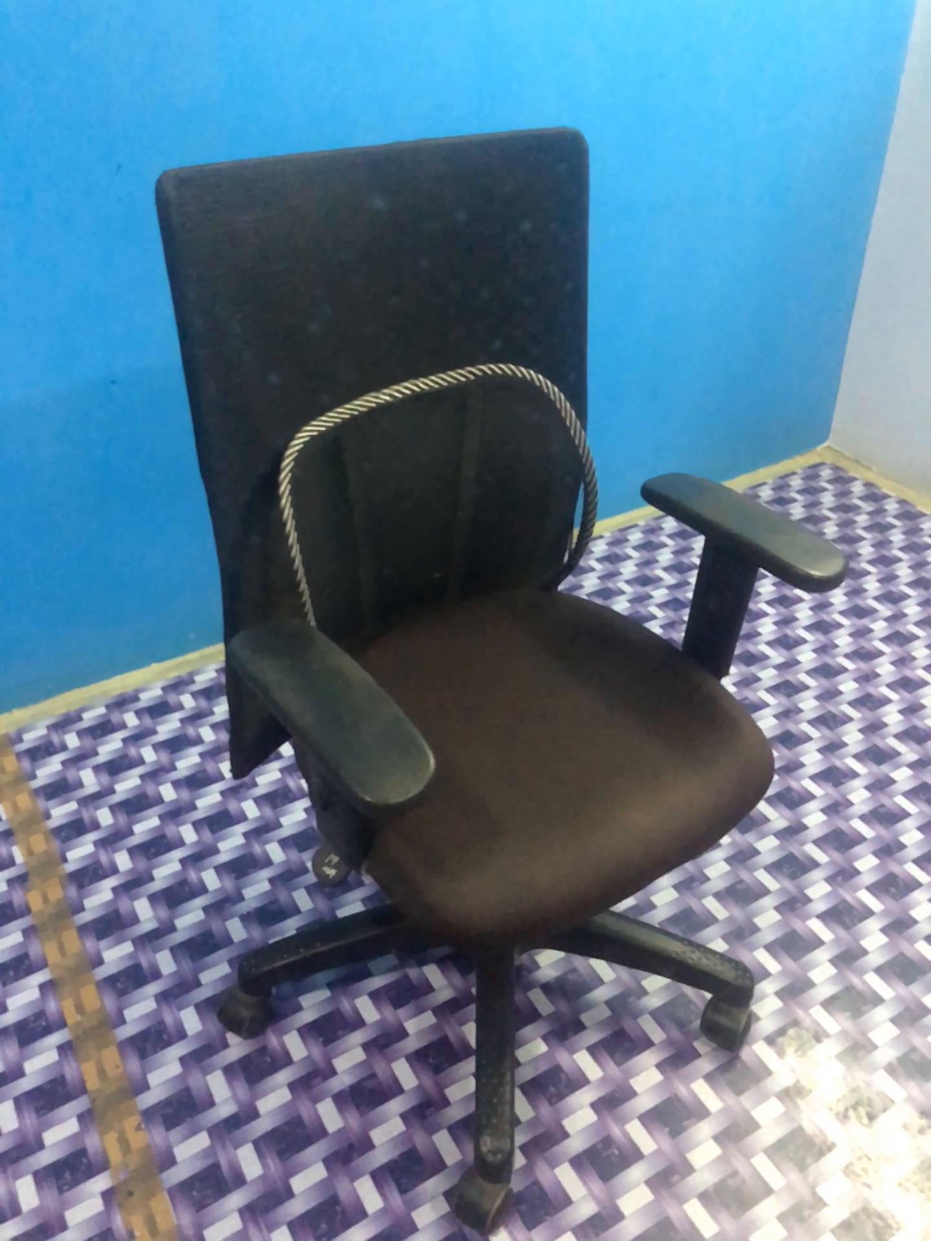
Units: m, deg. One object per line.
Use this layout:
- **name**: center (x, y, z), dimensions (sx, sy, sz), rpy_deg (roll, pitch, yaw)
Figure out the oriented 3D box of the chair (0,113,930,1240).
- **chair**: center (-0.001, 0.031, 1.072), dimensions (0.662, 0.885, 0.671), rpy_deg (-24, 41, -31)
